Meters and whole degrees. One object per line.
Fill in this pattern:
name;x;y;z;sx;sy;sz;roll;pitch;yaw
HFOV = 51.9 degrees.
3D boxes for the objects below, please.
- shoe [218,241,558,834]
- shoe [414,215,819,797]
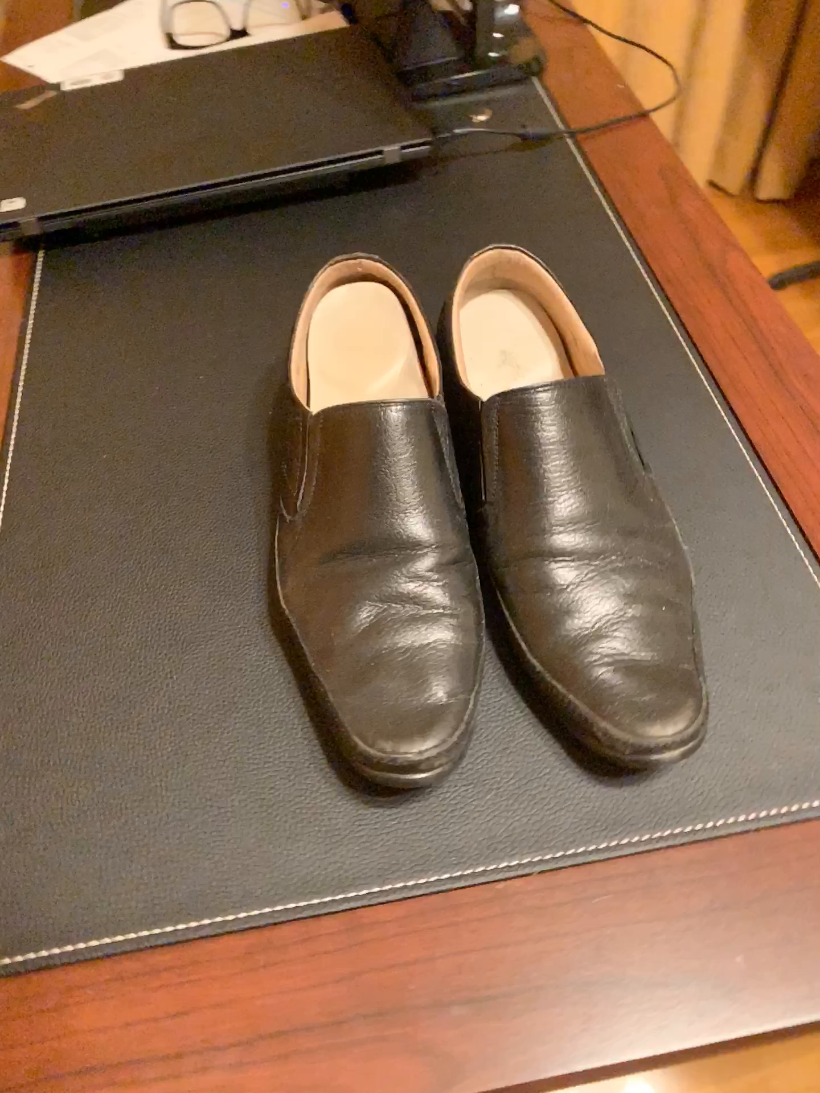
shoe;-0.025;-0.025;0.408;0.110;0.077;0.286;-9;53;-4
shoe;0.080;-0.040;0.408;0.106;0.077;0.286;-9;53;-4
